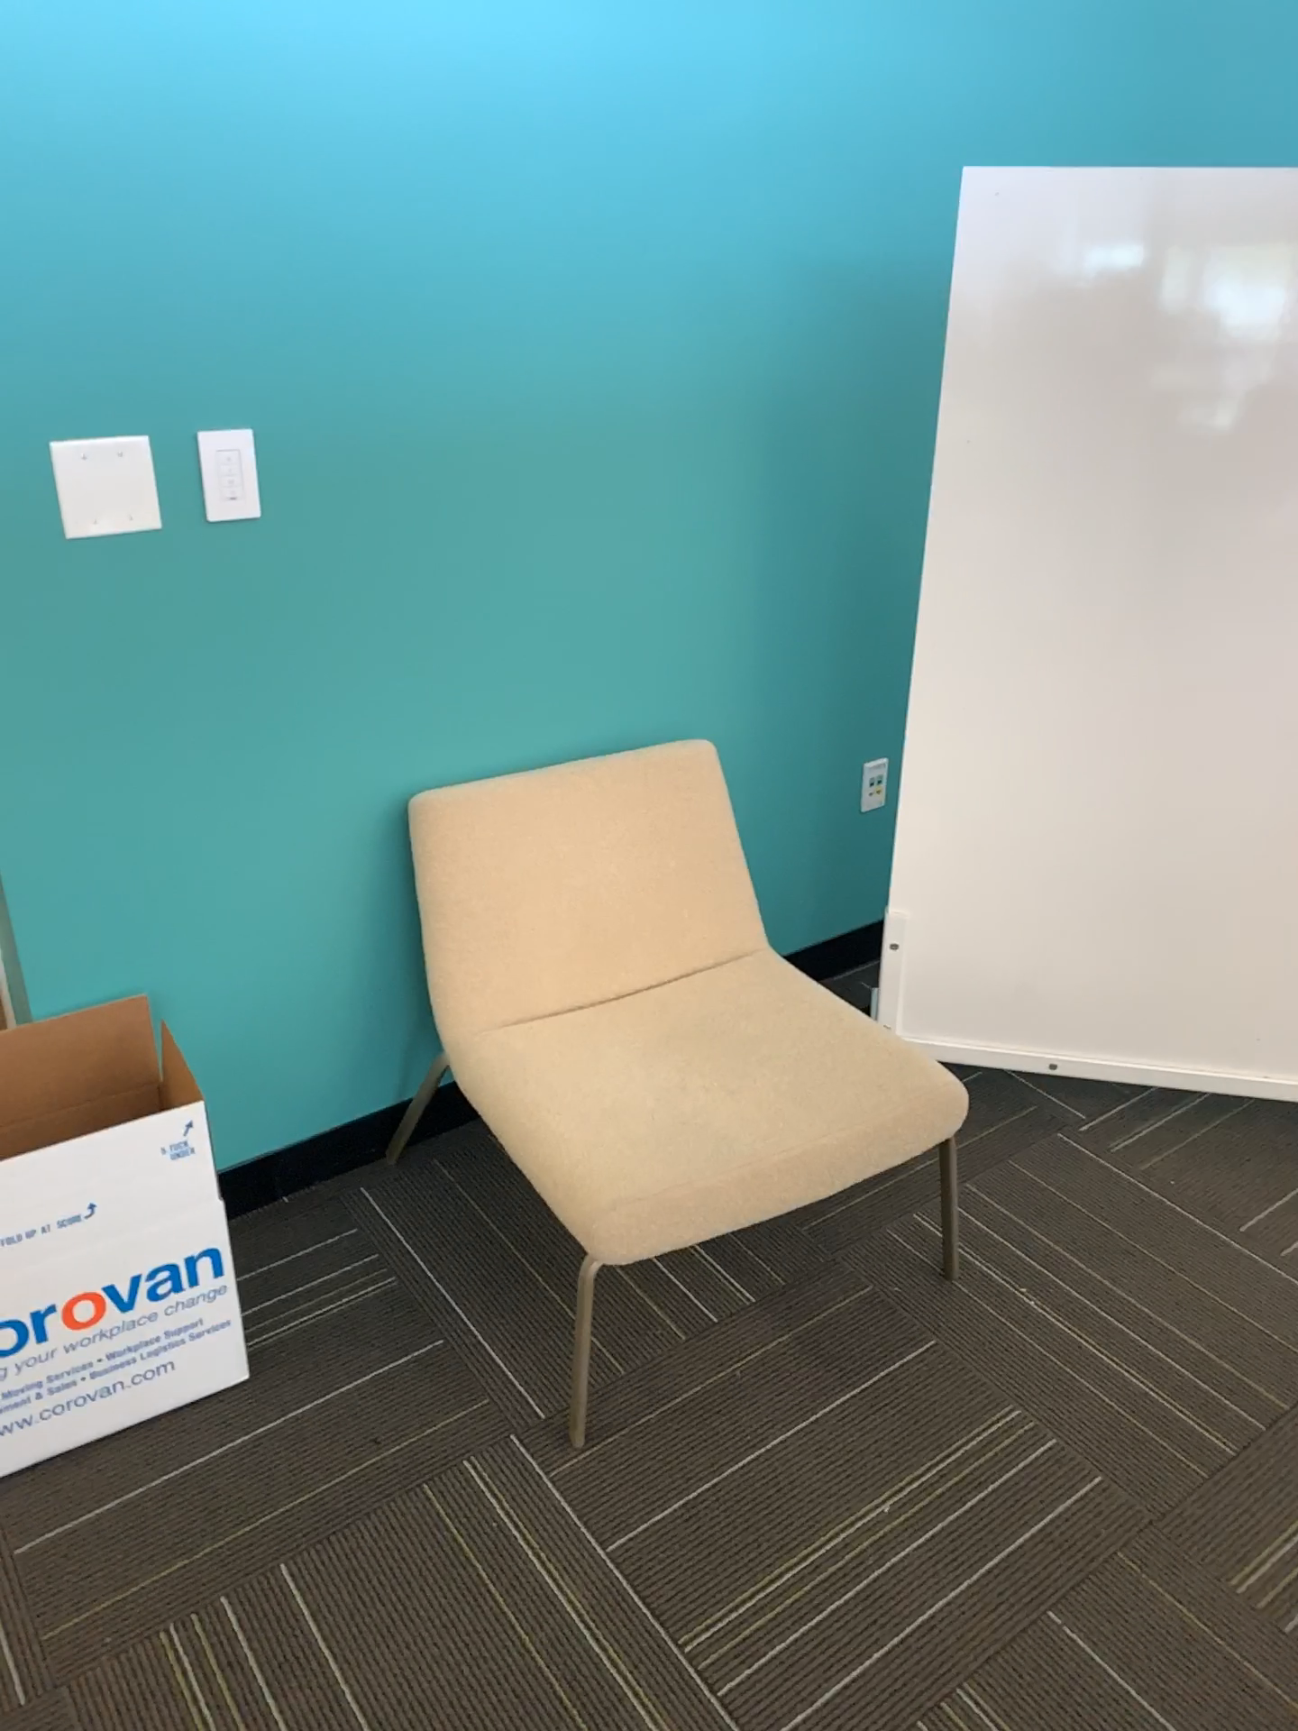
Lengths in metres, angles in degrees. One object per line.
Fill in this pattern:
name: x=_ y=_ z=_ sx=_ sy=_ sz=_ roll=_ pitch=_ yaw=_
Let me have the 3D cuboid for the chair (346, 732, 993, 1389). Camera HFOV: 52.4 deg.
chair: x=-0.003 y=0.222 z=2.048 sx=0.660 sy=0.567 sz=0.733 roll=-14 pitch=28 yaw=-28
